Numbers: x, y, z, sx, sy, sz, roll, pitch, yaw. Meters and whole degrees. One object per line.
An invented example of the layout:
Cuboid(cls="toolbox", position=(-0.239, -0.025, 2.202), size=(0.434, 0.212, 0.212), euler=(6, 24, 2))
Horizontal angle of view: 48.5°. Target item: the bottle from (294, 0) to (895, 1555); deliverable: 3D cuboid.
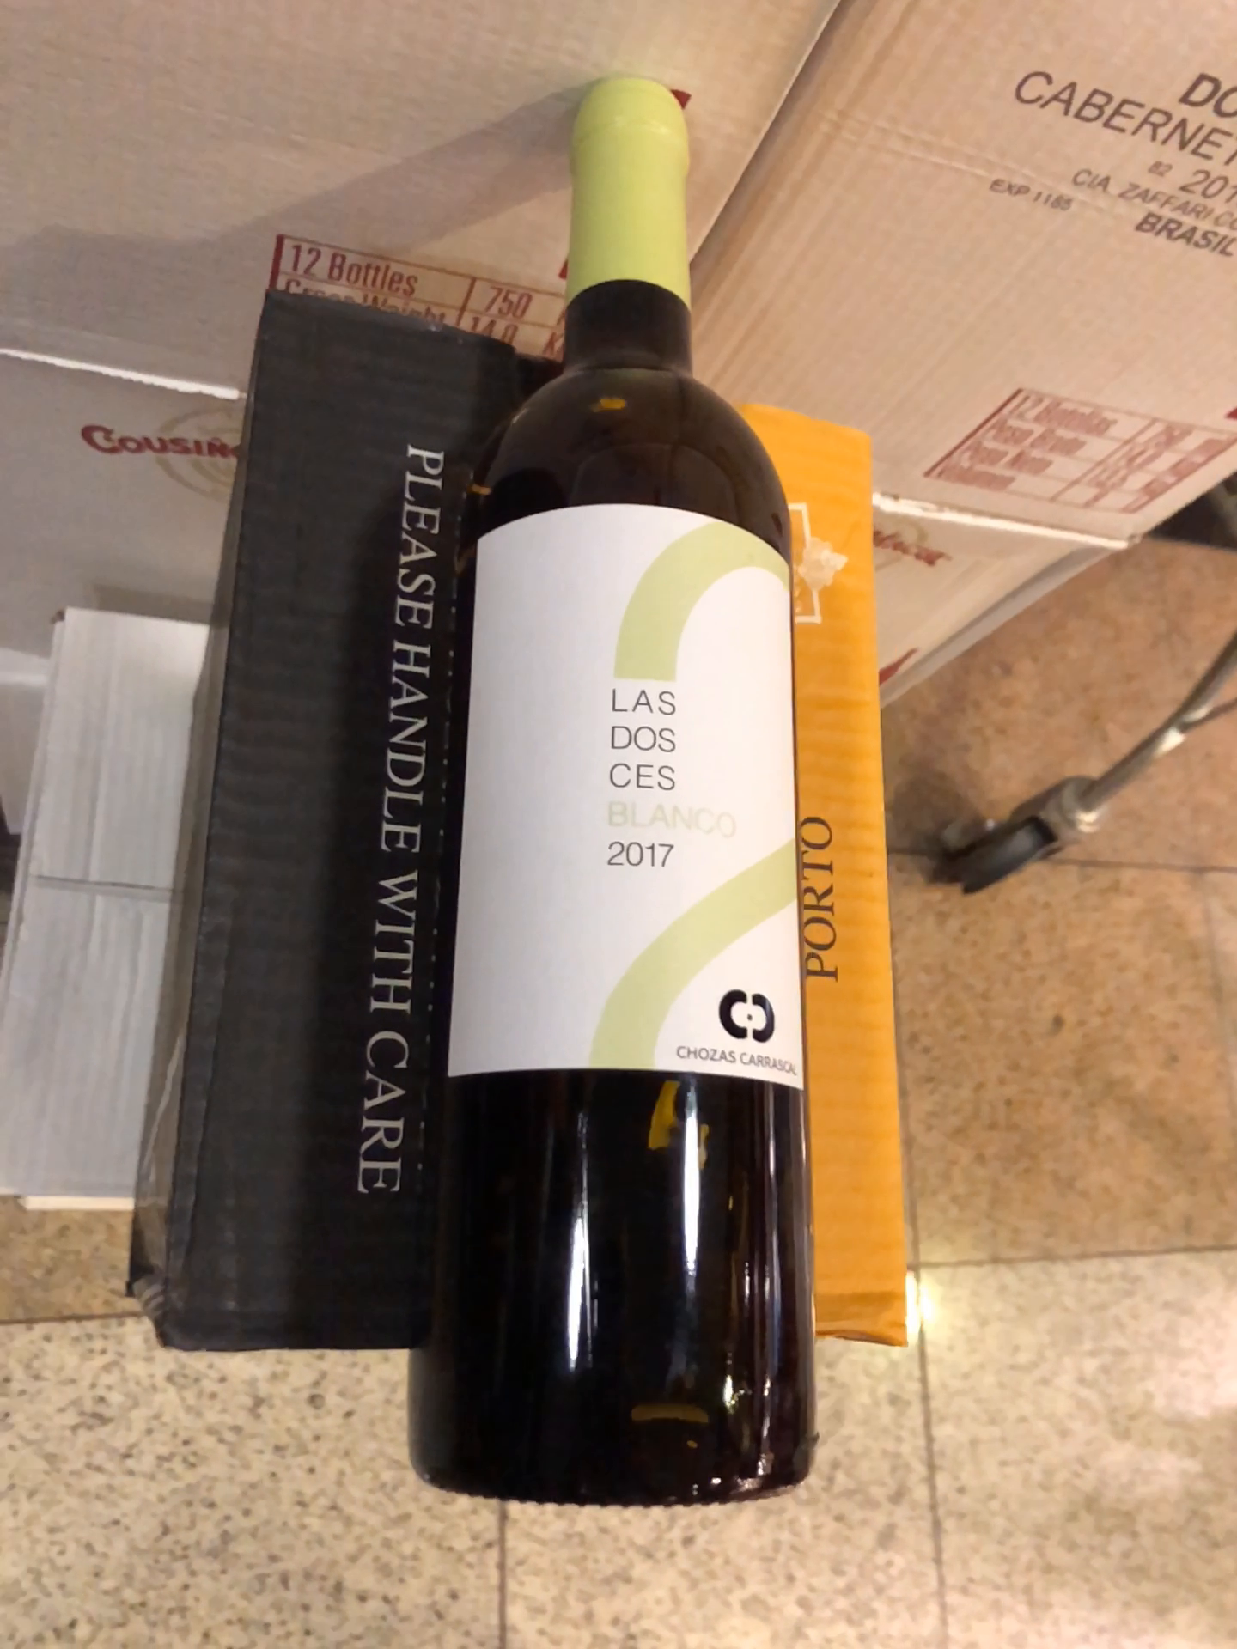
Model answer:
Cuboid(cls="bottle", position=(-0.004, -0.036, 0.286), size=(0.090, 0.070, 0.320), euler=(7, 74, -18))
